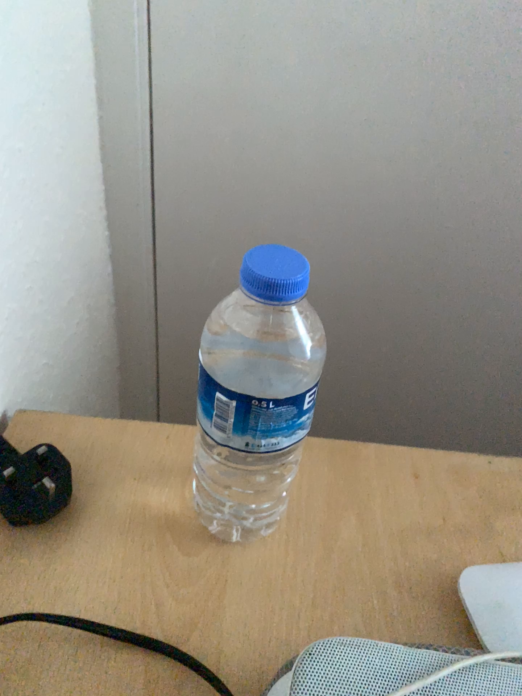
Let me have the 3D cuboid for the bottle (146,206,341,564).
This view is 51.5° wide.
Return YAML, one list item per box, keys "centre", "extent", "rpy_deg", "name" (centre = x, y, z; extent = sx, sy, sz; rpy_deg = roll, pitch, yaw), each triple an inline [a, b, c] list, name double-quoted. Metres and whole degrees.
- centre: [-0.014, 0.029, 0.309]
  extent: [0.070, 0.188, 0.071]
  rpy_deg: [4, 37, -3]
  name: "bottle"
